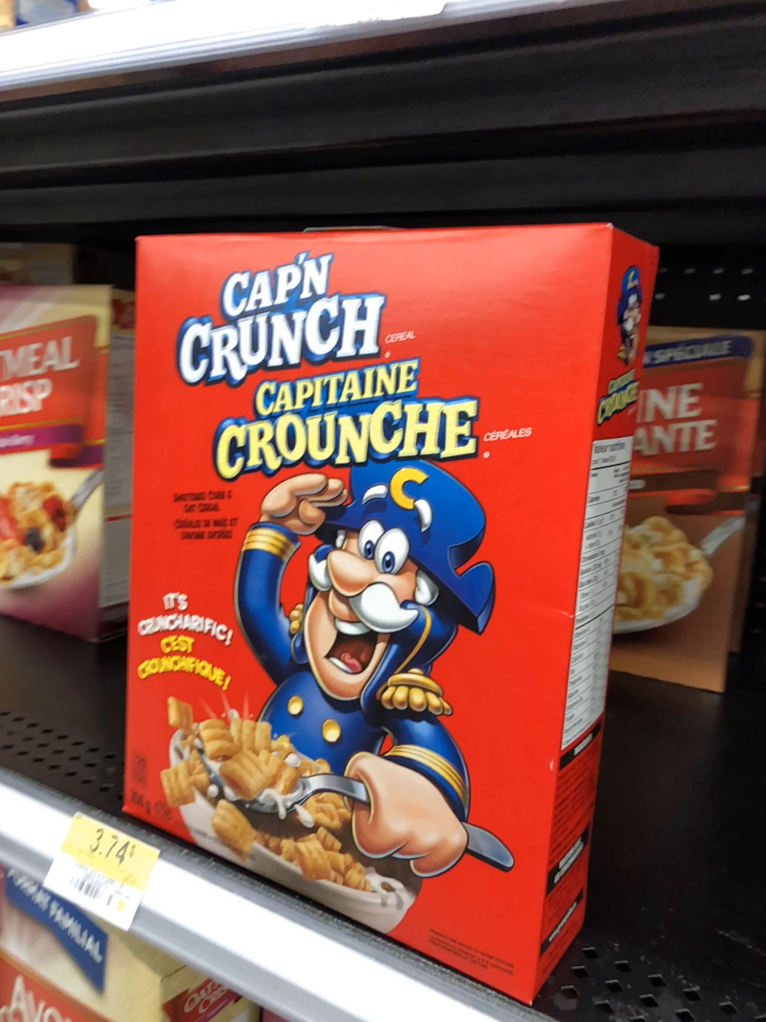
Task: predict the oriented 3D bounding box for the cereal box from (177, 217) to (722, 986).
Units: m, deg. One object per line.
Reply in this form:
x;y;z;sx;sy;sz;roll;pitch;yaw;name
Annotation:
0.012;0.022;0.381;0.220;0.279;0.060;10;11;31;cereal box
